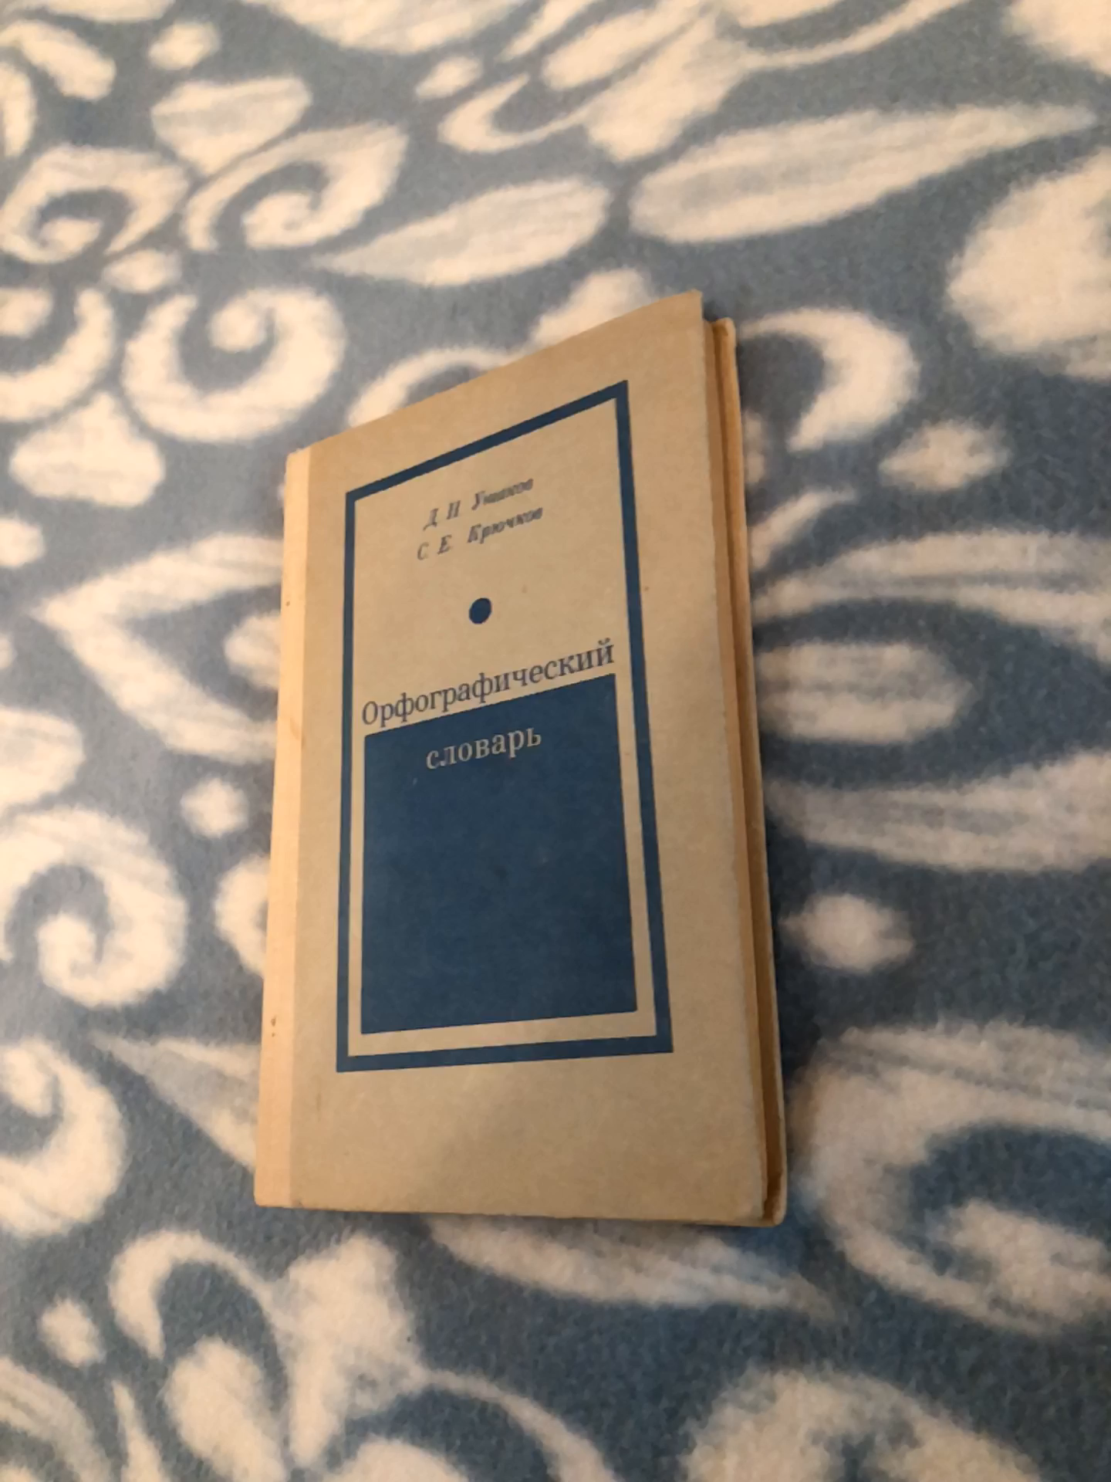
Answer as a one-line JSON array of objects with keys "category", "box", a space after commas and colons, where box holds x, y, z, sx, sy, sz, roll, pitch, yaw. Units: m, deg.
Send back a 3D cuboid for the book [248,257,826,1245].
[{"category": "book", "box": [-0.012, 0.004, 0.297, 0.137, 0.022, 0.210, -12, 70, 32]}]
